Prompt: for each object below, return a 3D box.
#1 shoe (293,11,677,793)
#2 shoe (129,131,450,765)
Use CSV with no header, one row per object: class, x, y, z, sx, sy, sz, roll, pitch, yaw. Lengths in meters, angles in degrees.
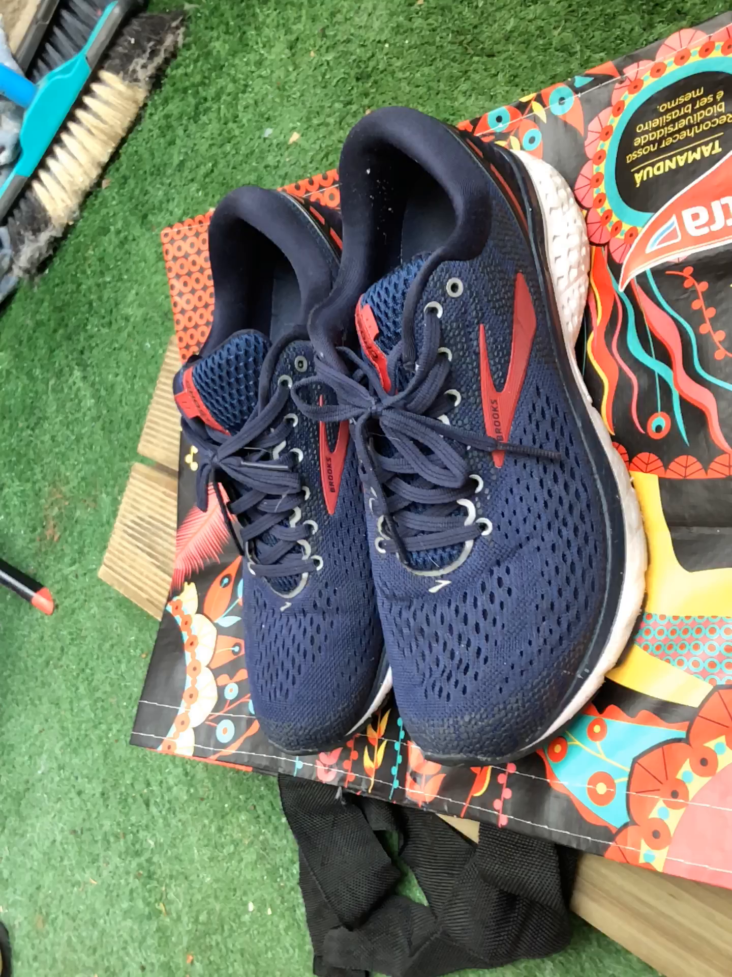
shoe,0.043,-0.026,0.328,0.100,0.099,0.265,-13,71,41
shoe,-0.033,-0.012,0.398,0.108,0.099,0.265,-11,73,42
